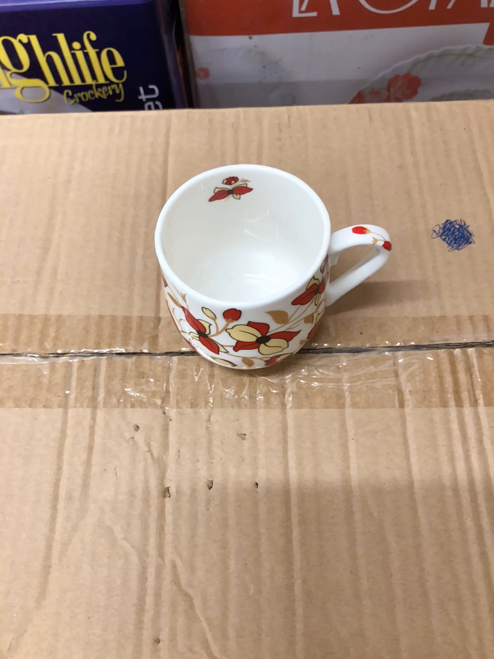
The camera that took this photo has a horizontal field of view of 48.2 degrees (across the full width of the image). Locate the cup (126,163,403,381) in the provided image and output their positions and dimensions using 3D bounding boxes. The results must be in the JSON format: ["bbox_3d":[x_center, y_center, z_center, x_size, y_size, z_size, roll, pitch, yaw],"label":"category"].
[{"bbox_3d":[0.006,-0.020,0.220,0.090,0.060,0.060,-2,62,2],"label":"cup"}]
